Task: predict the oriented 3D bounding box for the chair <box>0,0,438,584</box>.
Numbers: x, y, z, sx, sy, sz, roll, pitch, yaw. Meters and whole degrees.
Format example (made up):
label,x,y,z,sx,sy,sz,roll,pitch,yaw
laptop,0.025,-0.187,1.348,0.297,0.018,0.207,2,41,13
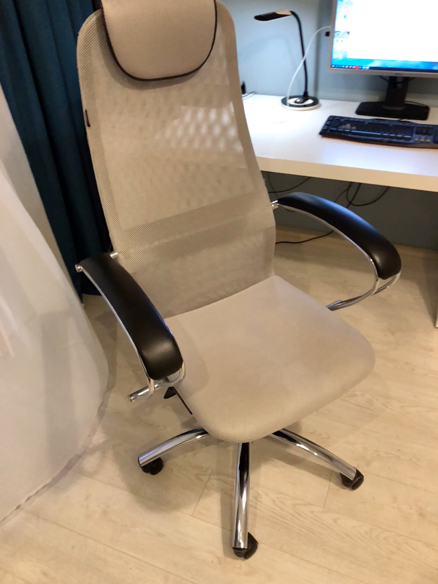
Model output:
label,x,y,z,sx,sy,sz,roll,pitch,yaw
chair,0.053,0.012,1.214,0.692,1.290,0.684,-22,41,-22
